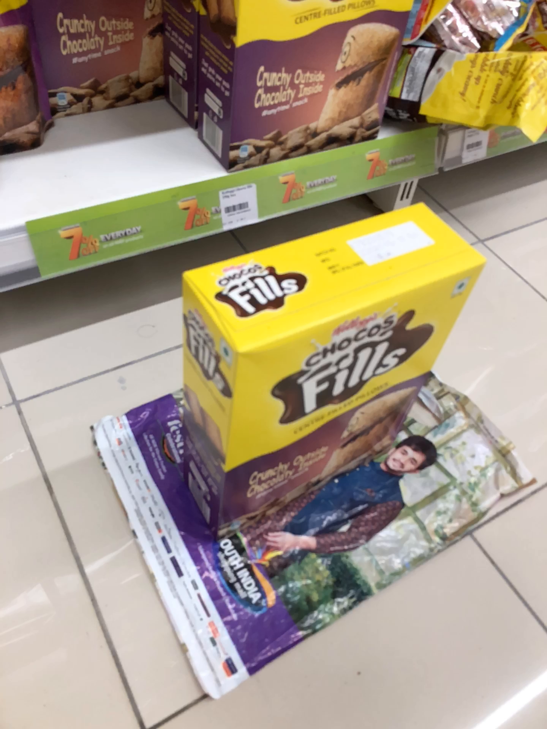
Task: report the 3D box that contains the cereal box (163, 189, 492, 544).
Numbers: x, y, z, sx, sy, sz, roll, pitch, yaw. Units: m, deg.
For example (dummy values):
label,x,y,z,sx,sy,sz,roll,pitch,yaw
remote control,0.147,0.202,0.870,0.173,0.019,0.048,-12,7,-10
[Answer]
label,x,y,z,sx,sy,sz,roll,pitch,yaw
cereal box,0.025,0.010,0.437,0.191,0.228,0.070,-23,57,-25
